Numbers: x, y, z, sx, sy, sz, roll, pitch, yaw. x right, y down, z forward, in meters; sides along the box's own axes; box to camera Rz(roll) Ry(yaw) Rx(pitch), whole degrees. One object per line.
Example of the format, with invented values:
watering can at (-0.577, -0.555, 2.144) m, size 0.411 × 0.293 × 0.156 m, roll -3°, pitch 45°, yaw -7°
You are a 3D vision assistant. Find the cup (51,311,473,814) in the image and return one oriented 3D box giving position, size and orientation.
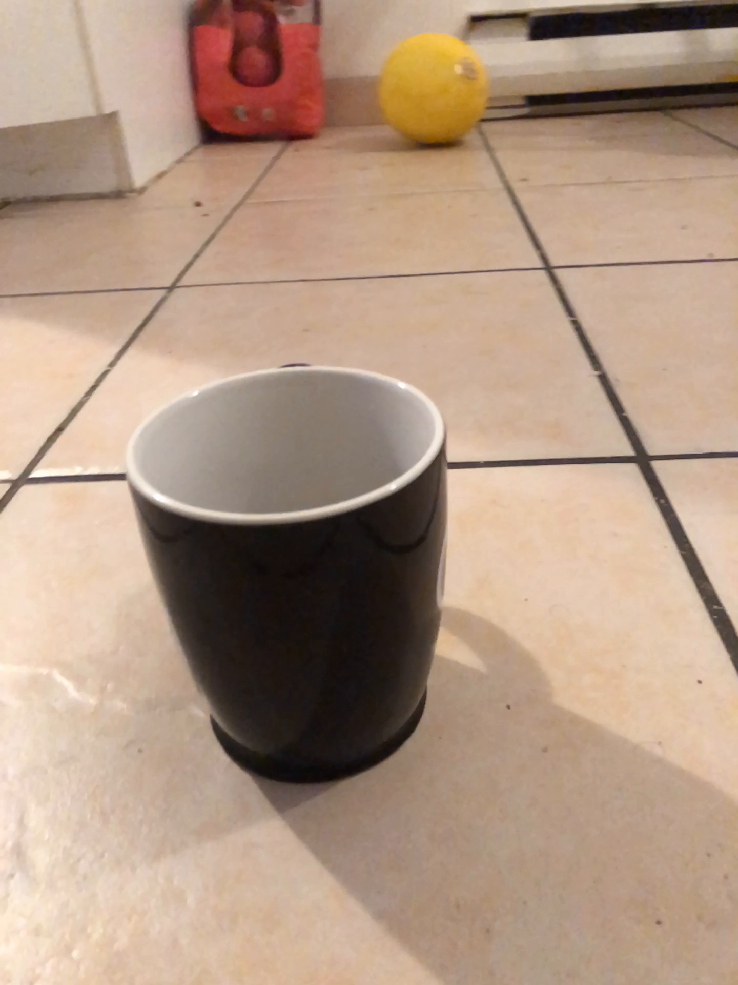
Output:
cup at (-0.025, 0.013, 0.278) m, size 0.100 × 0.100 × 0.141 m, roll -4°, pitch 31°, yaw 0°
